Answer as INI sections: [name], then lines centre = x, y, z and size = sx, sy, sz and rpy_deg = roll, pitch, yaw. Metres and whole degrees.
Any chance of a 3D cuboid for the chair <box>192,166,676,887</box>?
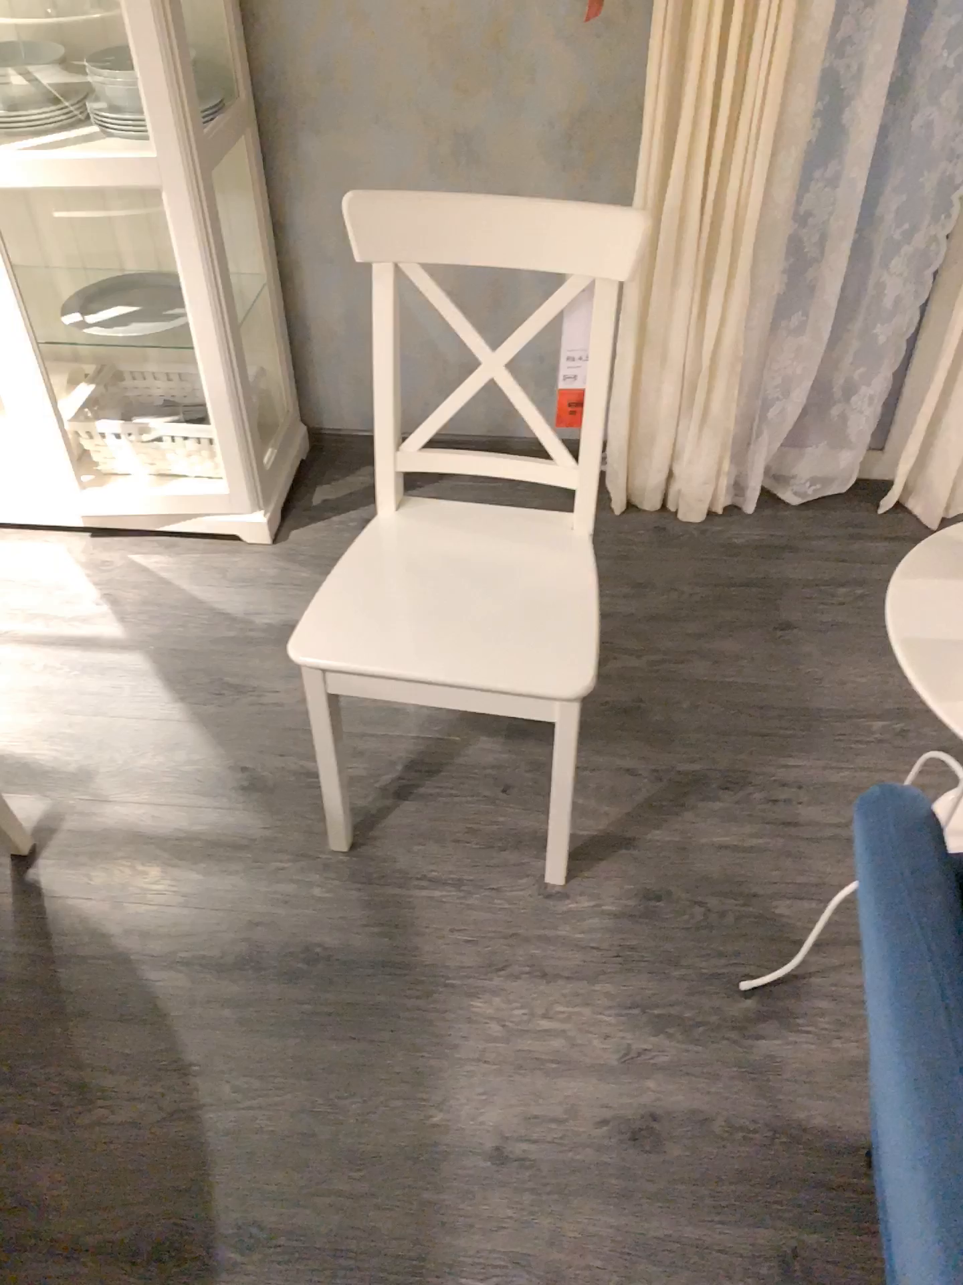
[chair]
centre = -0.011, -0.144, 1.384
size = 0.450, 0.807, 0.542
rpy_deg = 6, 44, 7
